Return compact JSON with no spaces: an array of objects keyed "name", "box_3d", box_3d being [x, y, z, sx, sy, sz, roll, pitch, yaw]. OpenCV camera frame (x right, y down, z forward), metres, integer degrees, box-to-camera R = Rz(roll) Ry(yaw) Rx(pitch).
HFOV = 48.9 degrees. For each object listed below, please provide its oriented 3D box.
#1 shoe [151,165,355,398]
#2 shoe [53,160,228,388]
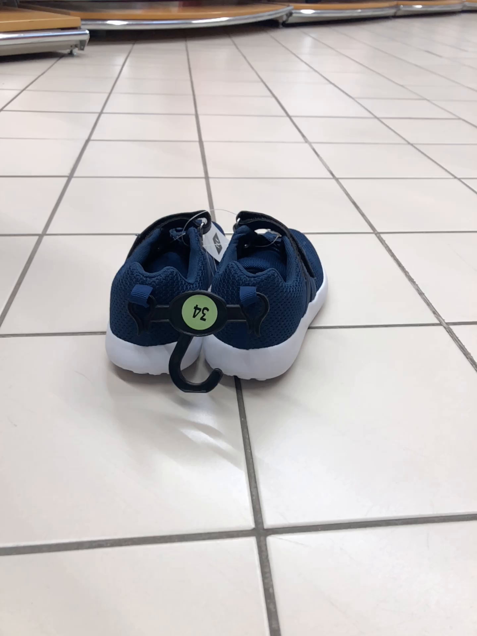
[{"name":"shoe","box_3d":[0.026,-0.051,0.470,0.102,0.094,0.238,13,35,15]},{"name":"shoe","box_3d":[-0.068,-0.056,0.468,0.093,0.095,0.239,4,33,2]}]
